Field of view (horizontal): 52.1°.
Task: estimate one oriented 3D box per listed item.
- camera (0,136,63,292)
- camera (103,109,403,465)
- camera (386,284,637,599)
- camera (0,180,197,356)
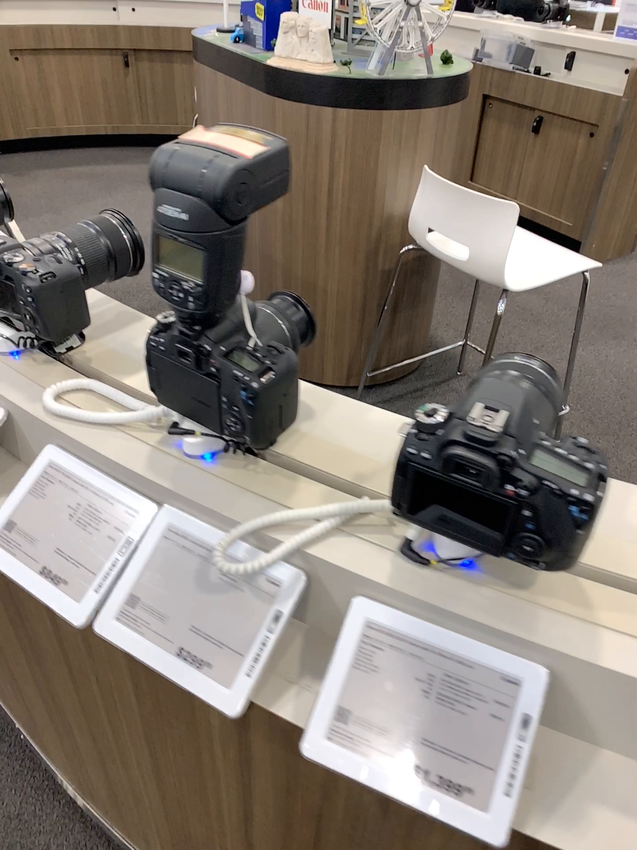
[{"bbox_3d":[-0.456,-0.277,0.836,0.170,0.119,0.151,-29,48,-34],"label":"camera"},{"bbox_3d":[-0.048,-0.124,0.556,0.150,0.219,0.171,25,43,26],"label":"camera"},{"bbox_3d":[0.157,-0.003,0.471,0.140,0.099,0.191,21,41,22],"label":"camera"},{"bbox_3d":[-0.261,-0.185,0.732,0.140,0.099,0.201,25,43,26],"label":"camera"}]
